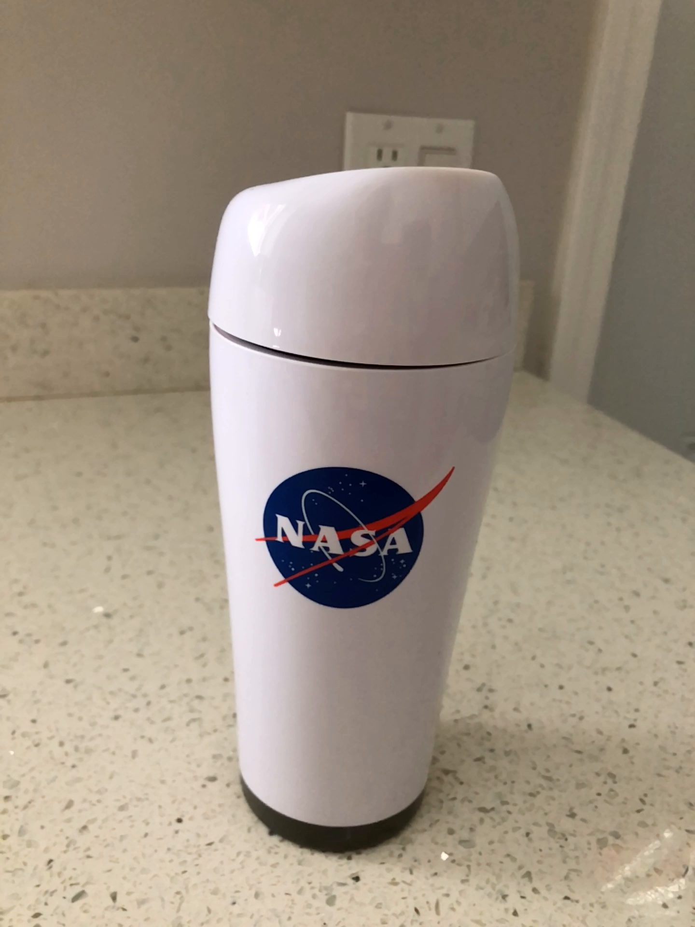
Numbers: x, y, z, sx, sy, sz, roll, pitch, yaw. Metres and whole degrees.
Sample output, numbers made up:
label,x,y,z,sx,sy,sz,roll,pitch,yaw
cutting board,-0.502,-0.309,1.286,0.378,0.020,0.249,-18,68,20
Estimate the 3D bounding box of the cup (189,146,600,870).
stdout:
label,x,y,z,sx,sy,sz,roll,pitch,yaw
cup,0.007,0.012,0.221,0.078,0.182,0.081,3,24,-1
